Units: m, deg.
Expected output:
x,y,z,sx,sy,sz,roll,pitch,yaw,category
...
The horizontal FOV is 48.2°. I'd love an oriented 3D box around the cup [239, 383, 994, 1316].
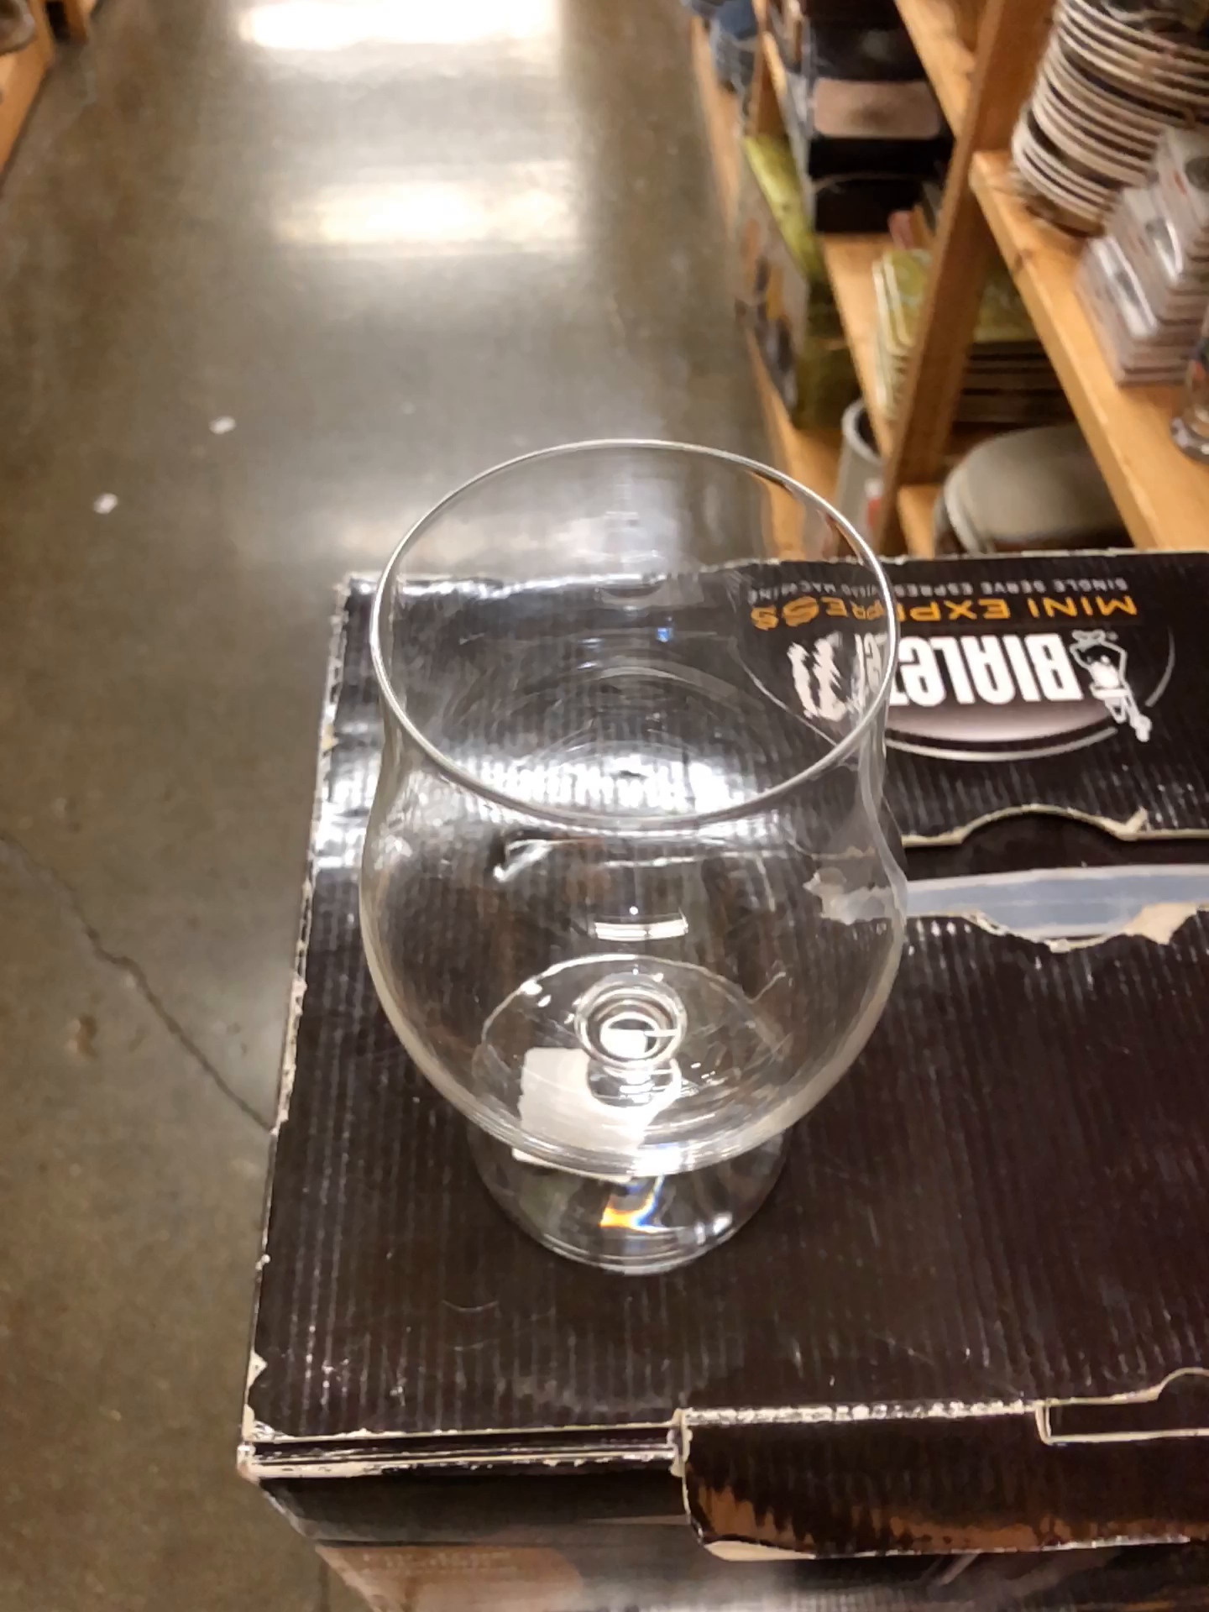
x,y,z,sx,sy,sz,roll,pitch,yaw,category
0.000,0.018,0.224,0.079,0.145,0.082,0,52,0,cup
